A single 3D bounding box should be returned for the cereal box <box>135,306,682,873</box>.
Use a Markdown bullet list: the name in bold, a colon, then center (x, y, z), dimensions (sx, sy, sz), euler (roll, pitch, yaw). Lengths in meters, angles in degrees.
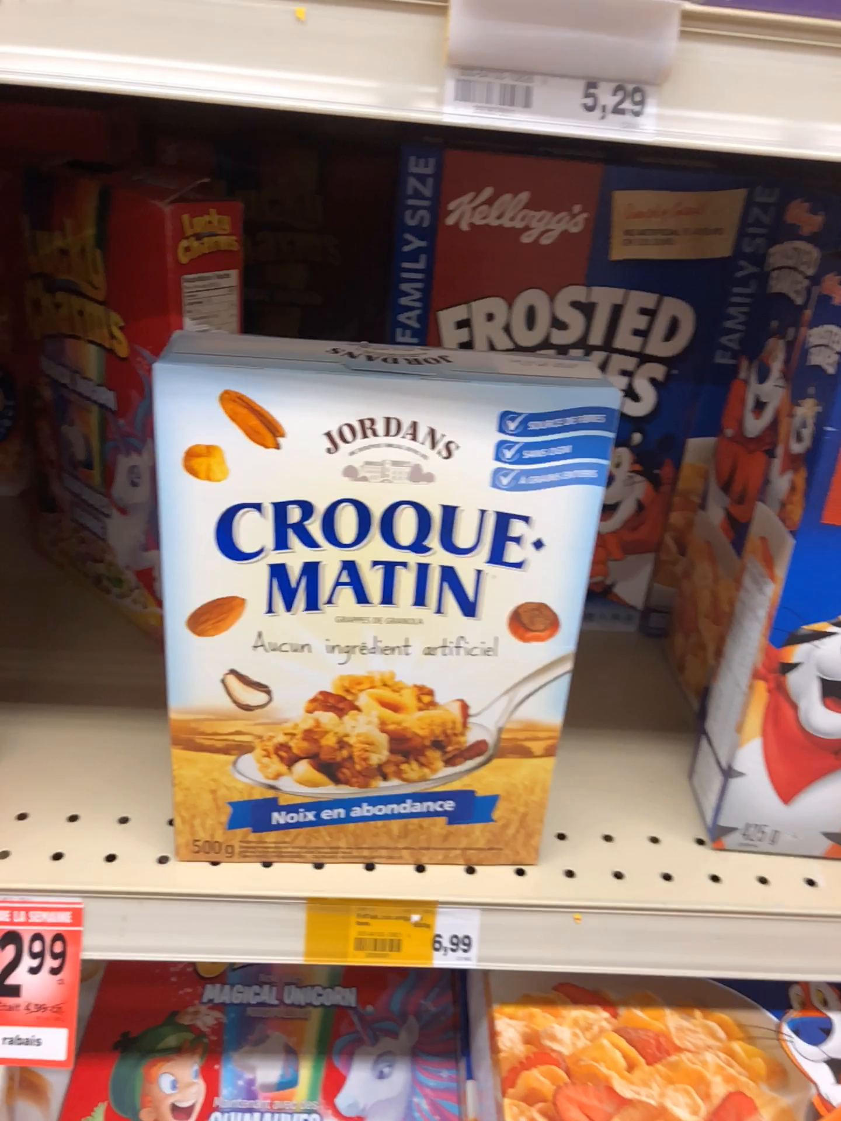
- **cereal box**: center (-0.014, 0.028, 0.420), dimensions (0.200, 0.258, 0.050), euler (2, 28, -6)
